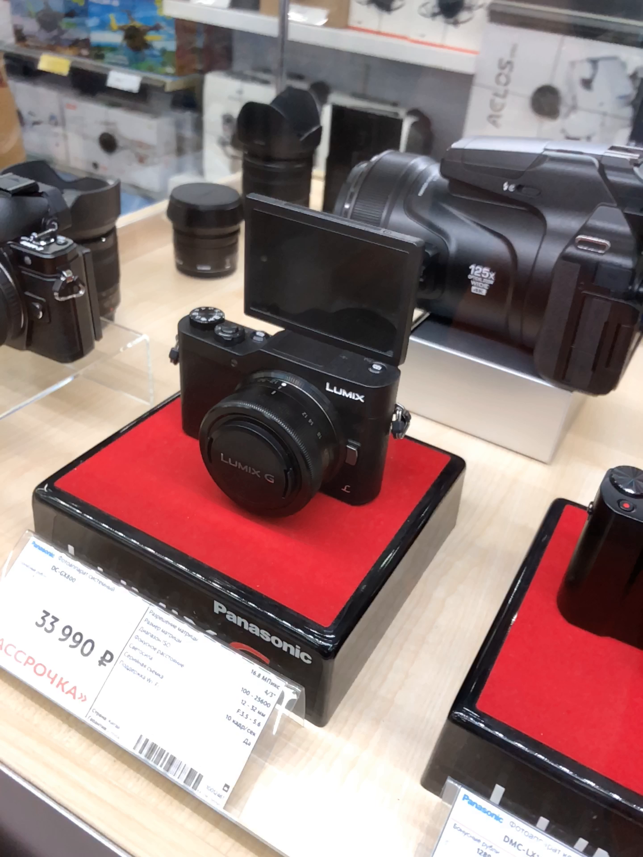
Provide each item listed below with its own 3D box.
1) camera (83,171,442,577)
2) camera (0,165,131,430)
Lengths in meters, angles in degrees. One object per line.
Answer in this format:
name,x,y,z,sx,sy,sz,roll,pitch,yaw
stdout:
camera,-0.024,-0.025,0.291,0.108,0.120,0.070,20,37,19
camera,-0.179,-0.075,0.373,0.108,0.080,0.103,22,38,22
